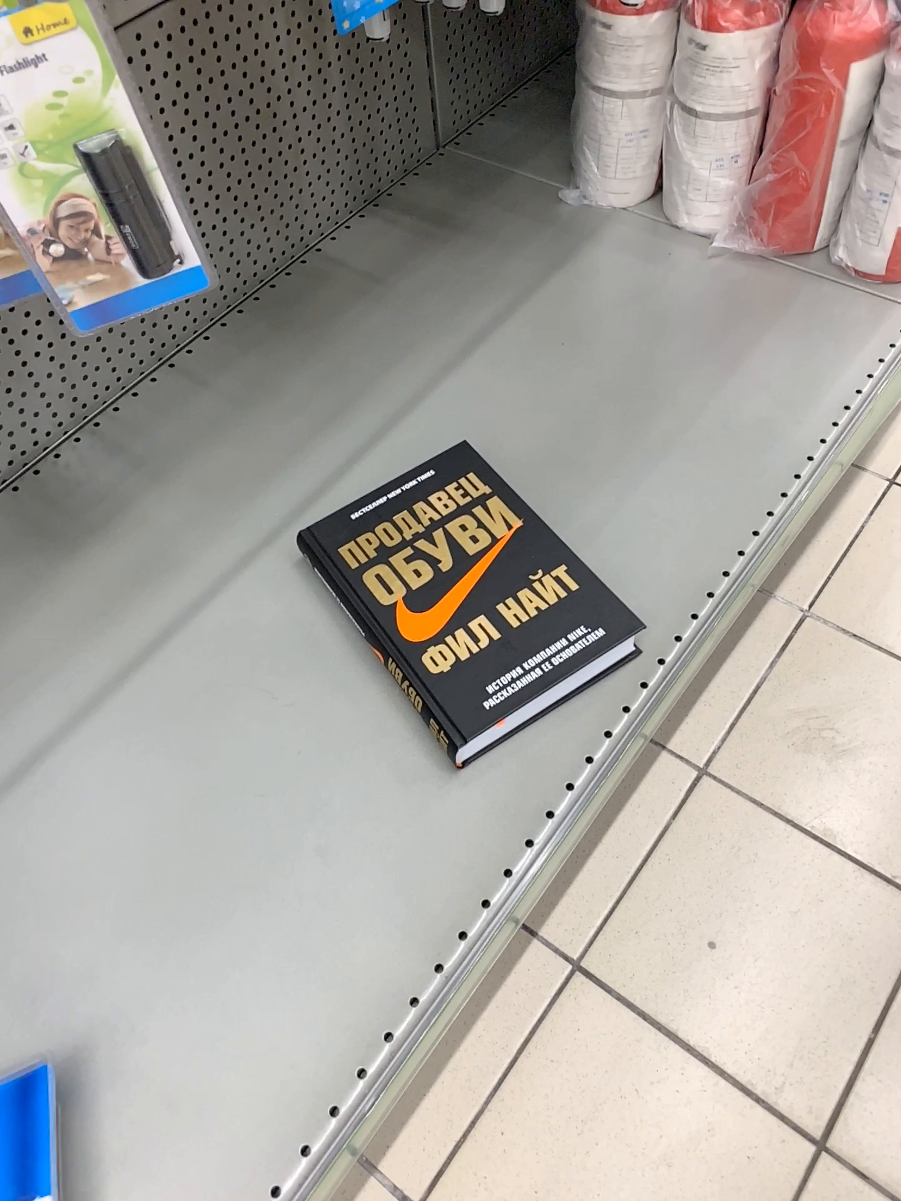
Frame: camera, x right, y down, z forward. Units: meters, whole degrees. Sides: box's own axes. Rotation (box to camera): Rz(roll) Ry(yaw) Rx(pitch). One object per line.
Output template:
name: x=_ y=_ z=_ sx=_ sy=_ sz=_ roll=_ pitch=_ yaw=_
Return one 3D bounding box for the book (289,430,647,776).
book: x=0.007 y=-0.011 z=0.726 sx=0.166 sy=0.049 sz=0.250 roll=-30 pitch=57 yaw=-15
